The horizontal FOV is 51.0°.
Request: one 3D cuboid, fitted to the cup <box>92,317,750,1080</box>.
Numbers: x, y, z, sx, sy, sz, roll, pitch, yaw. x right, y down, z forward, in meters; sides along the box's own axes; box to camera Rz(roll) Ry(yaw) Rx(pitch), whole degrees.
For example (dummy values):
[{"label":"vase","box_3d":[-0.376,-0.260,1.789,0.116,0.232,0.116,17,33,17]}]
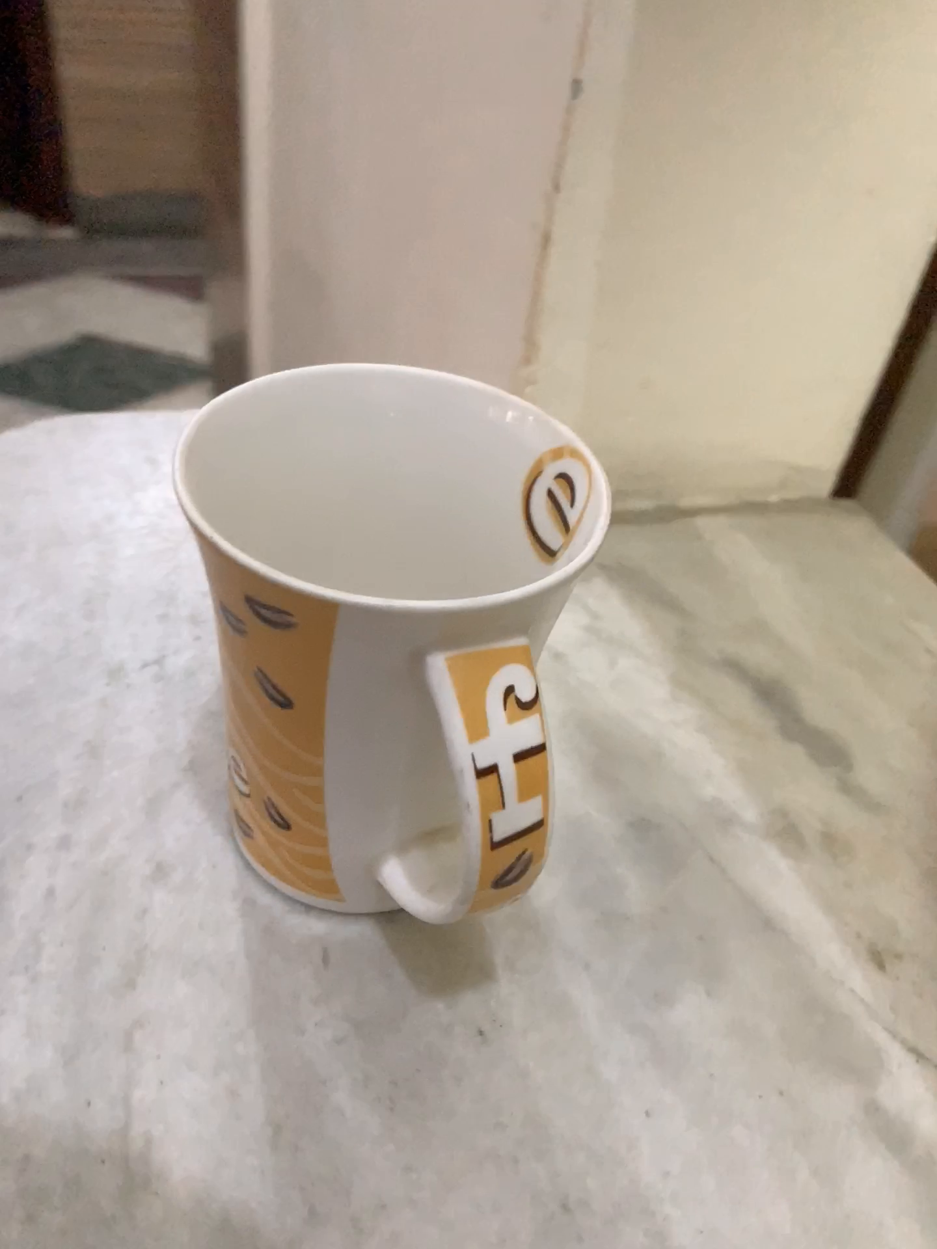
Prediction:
[{"label":"cup","box_3d":[-0.021,0.008,0.200,0.080,0.100,0.100,-11,44,-25]}]
